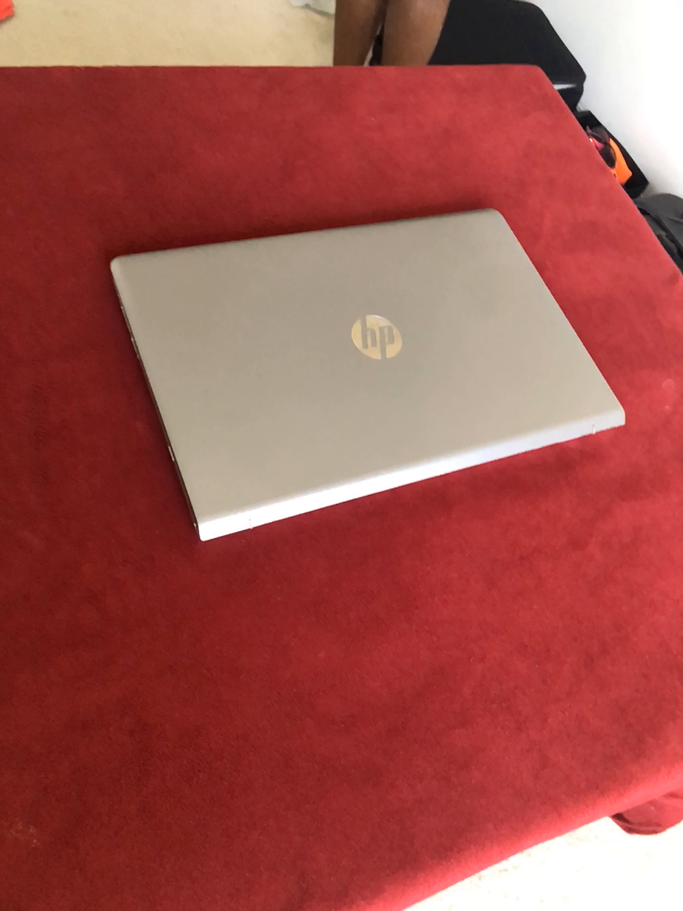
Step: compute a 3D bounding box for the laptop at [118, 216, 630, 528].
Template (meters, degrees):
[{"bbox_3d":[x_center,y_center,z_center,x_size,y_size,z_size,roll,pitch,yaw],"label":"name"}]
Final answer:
[{"bbox_3d":[0.033,-0.092,0.621,0.372,0.006,0.234,-14,64,-22],"label":"laptop"}]
